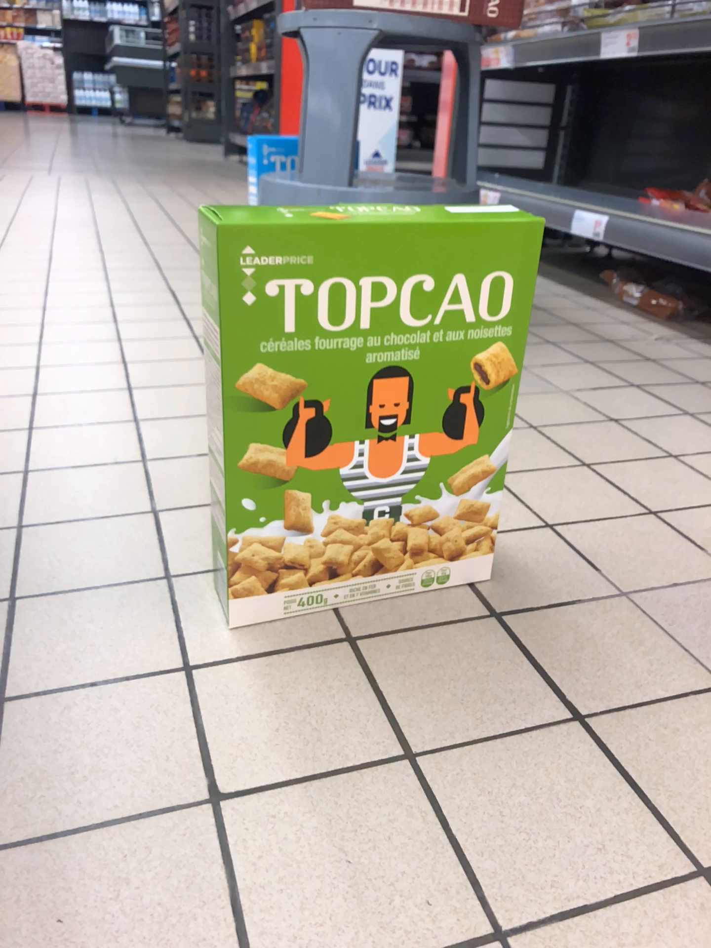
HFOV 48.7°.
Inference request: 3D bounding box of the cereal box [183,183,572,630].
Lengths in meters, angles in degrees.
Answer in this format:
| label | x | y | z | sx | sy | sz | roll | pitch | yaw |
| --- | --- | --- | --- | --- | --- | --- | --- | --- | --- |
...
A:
| label | x | y | z | sx | sy | sz | roll | pitch | yaw |
| --- | --- | --- | --- | --- | --- | --- | --- | --- | --- |
| cereal box | 0.008 | -0.040 | 0.476 | 0.200 | 0.249 | 0.060 | -7 | 29 | -19 |
